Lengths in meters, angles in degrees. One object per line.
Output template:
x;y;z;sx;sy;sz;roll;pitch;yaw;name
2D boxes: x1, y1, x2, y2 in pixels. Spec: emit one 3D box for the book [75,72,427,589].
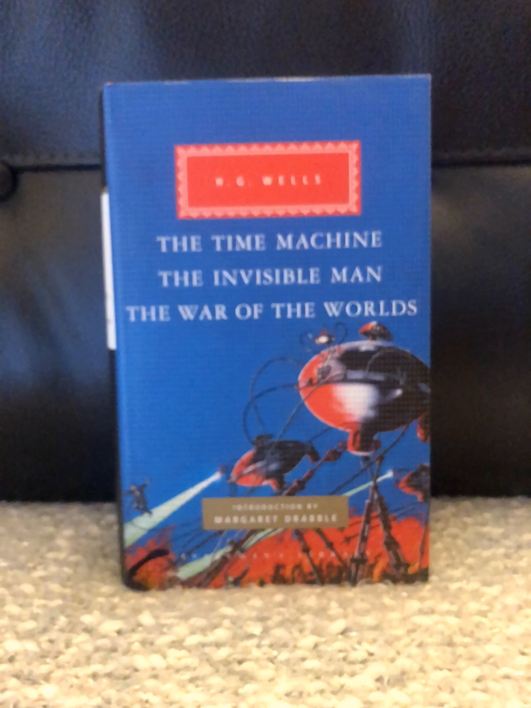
-0.003;-0.008;0.282;0.148;0.226;0.034;-1;6;-1;book
